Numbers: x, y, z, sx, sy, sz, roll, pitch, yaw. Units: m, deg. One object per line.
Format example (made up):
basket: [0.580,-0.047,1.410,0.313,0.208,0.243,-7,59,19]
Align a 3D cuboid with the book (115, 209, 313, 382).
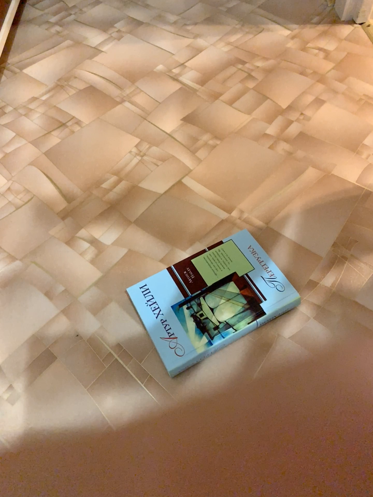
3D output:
book: [0.034,0.053,0.514,0.210,0.040,0.151,-27,60,-14]
